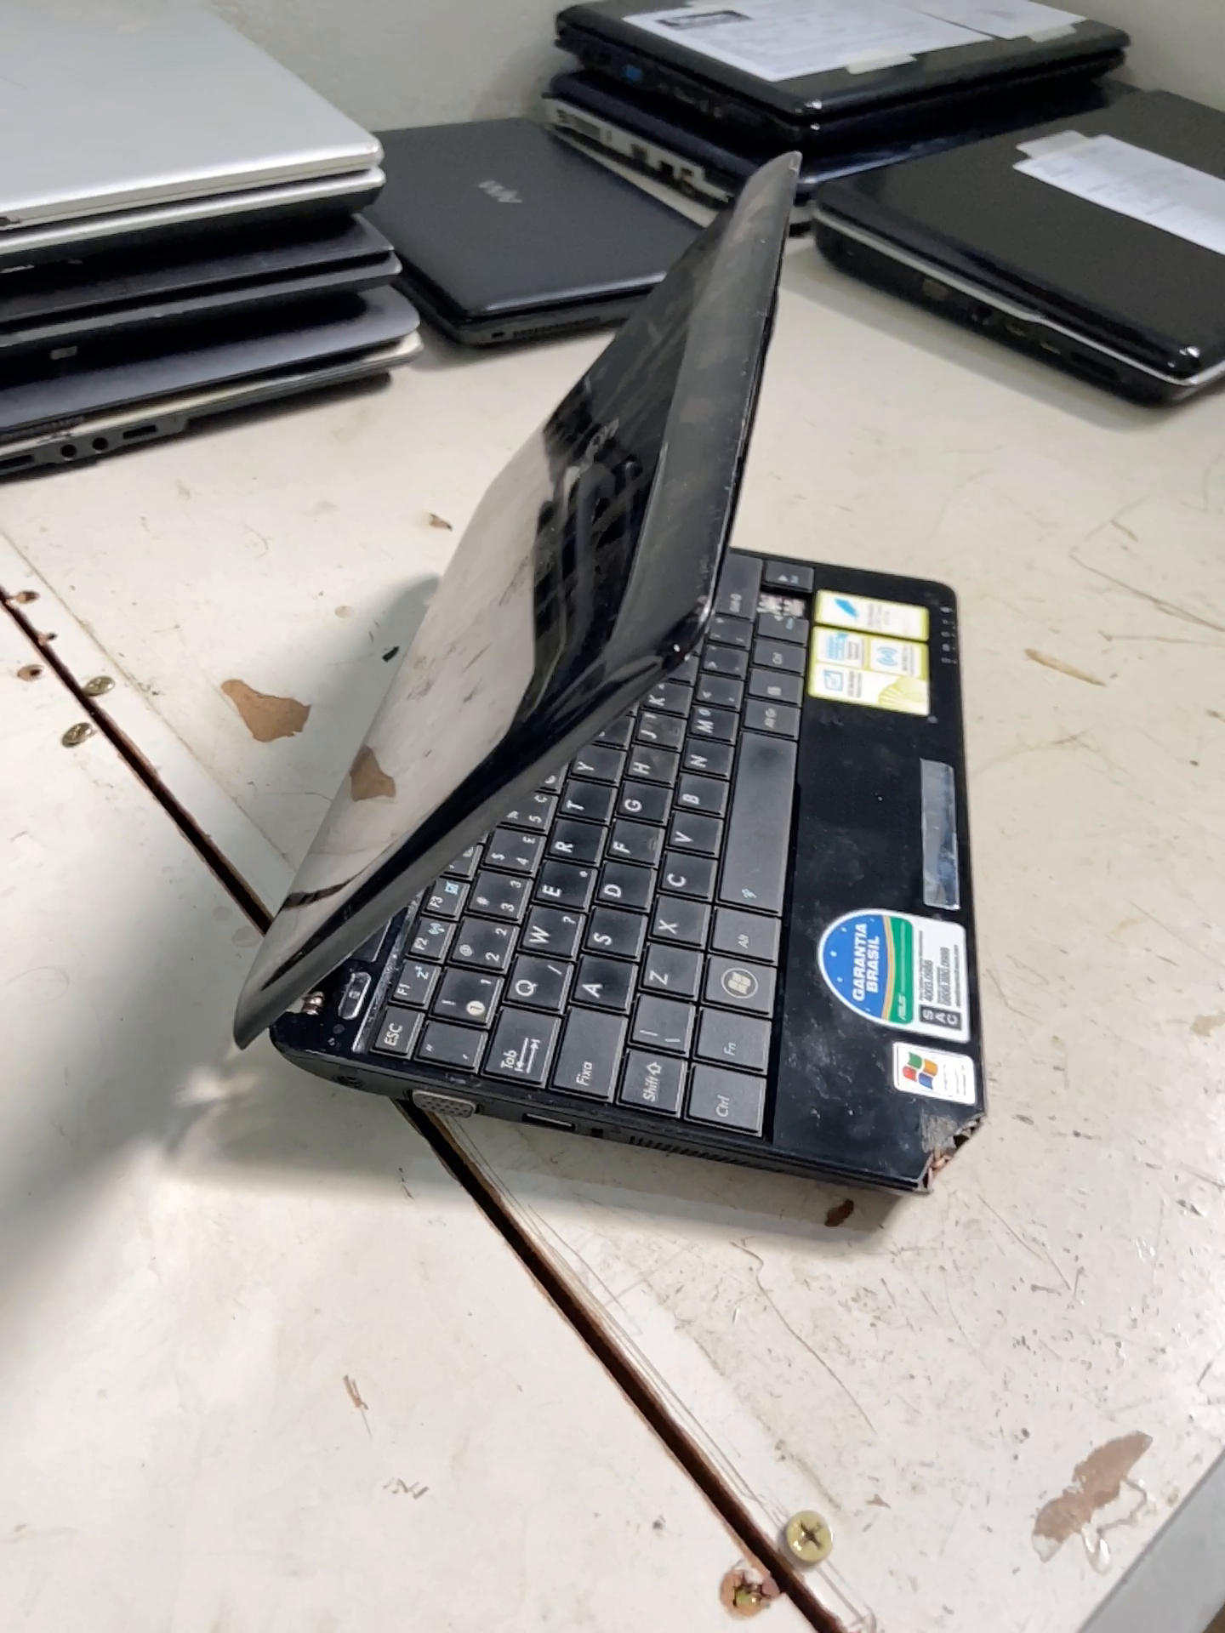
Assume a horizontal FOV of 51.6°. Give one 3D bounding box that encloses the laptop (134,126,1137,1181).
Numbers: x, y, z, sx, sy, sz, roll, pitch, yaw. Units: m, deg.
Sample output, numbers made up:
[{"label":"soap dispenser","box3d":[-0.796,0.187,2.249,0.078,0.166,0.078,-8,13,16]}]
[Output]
[{"label":"laptop","box3d":[0.024,-0.067,0.350,0.167,0.137,0.263,11,43,4]}]
